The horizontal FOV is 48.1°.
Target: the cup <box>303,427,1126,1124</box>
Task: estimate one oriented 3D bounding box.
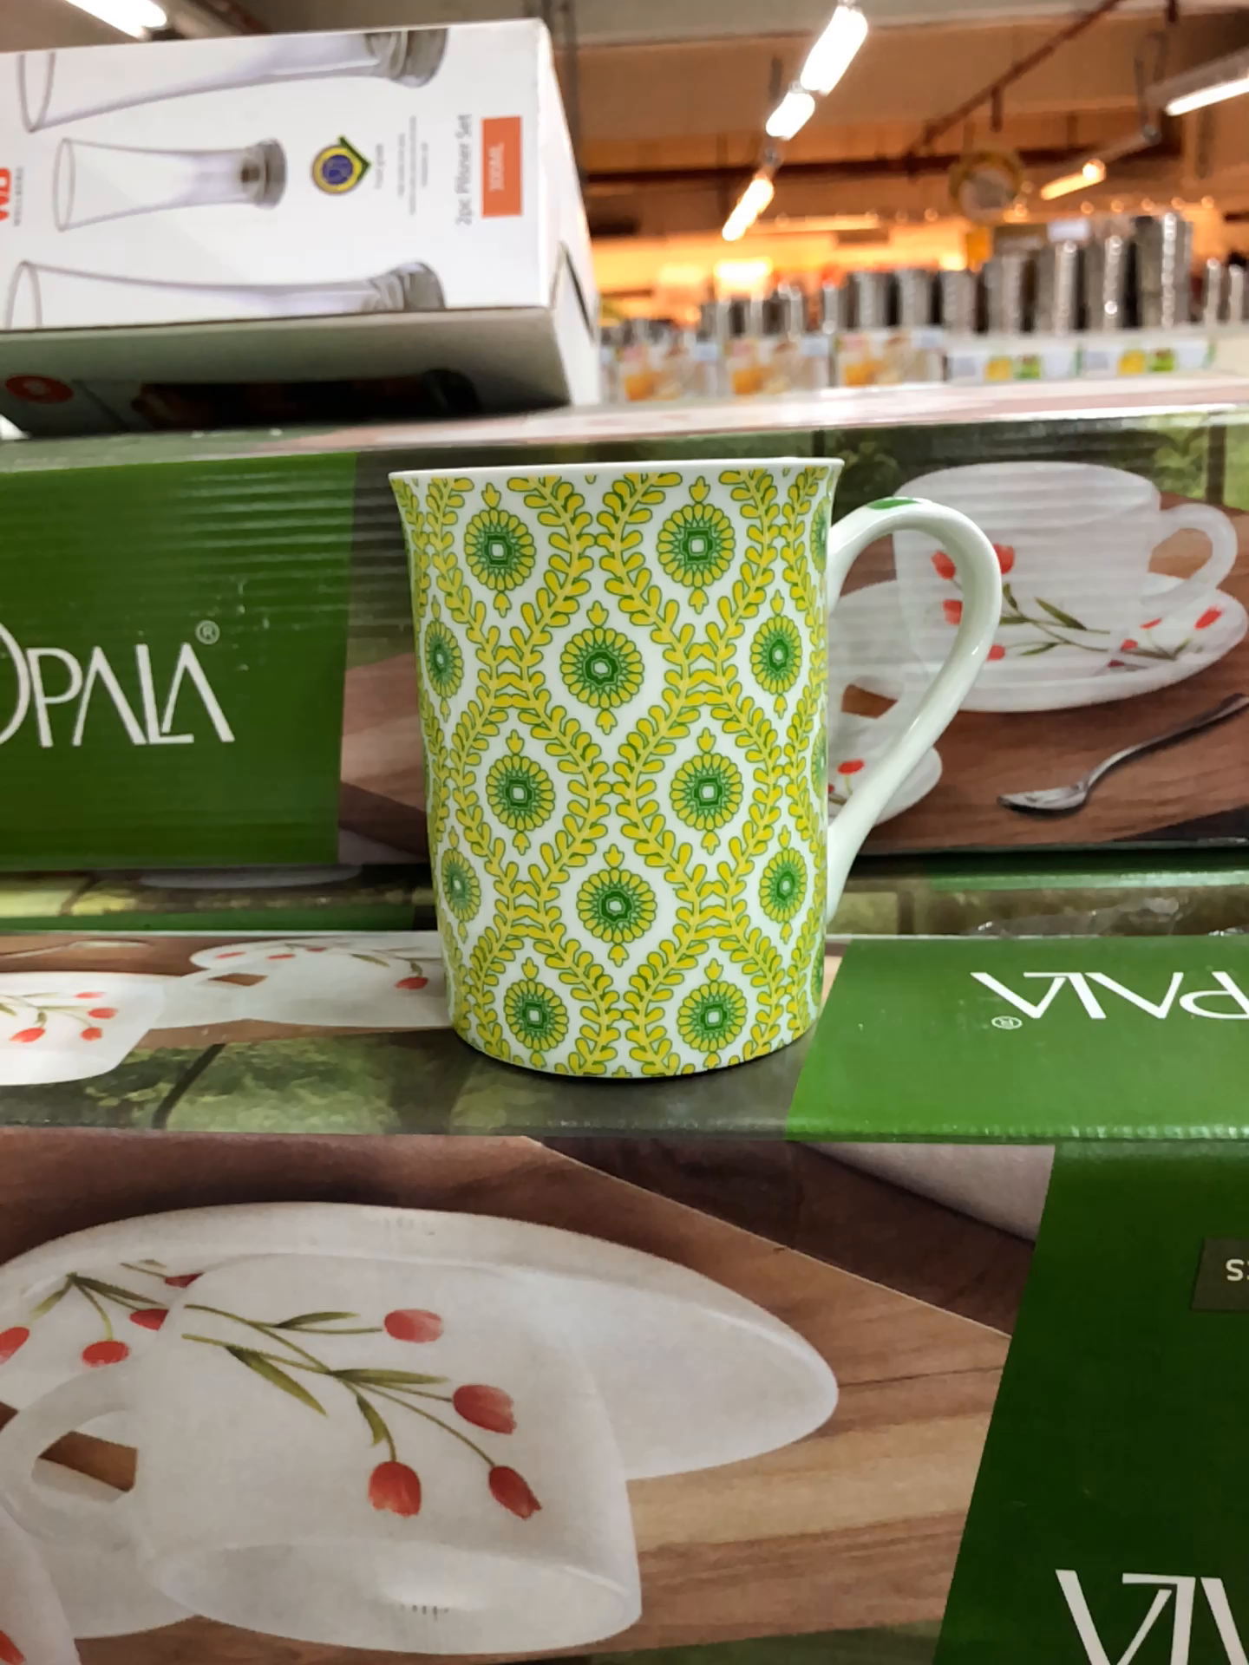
[{"bbox_3d":[0.012,-0.017,0.236,0.110,0.090,0.080,-6,11,-22],"label":"cup"}]
